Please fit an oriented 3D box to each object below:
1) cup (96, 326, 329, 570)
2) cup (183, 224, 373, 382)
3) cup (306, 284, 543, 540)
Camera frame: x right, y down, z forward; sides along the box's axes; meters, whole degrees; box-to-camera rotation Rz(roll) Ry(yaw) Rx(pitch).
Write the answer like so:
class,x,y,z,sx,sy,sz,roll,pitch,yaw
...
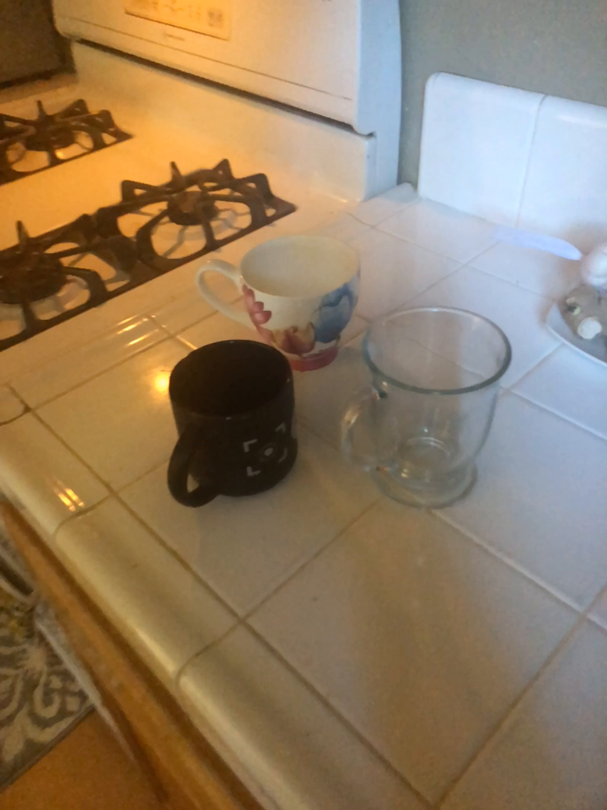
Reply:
class,x,y,z,sx,sy,sz,roll,pitch,yaw
cup,-0.060,0.026,0.493,0.100,0.089,0.131,24,49,27
cup,-0.017,-0.097,0.610,0.140,0.079,0.111,10,44,14
cup,0.078,0.003,0.473,0.120,0.119,0.101,-16,44,-13
